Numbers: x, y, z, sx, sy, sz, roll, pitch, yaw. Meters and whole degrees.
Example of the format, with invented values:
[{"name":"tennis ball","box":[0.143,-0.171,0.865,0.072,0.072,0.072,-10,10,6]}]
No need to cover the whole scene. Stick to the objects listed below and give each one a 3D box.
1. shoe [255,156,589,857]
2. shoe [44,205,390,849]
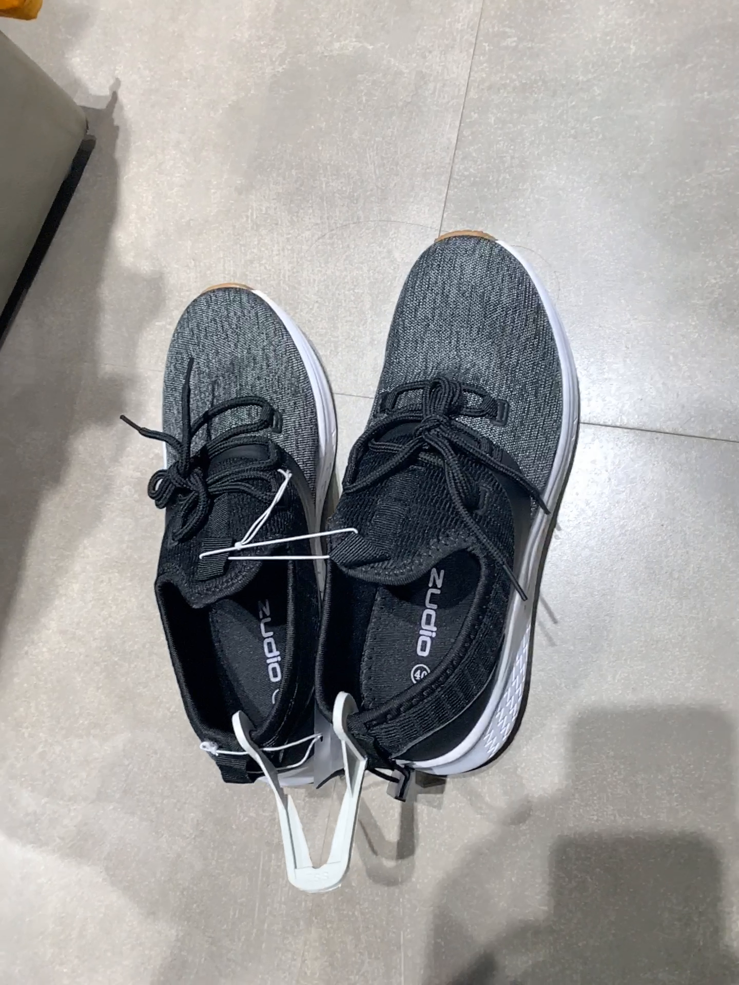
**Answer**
[{"name":"shoe","box":[0.034,0.001,0.359,0.107,0.096,0.278,5,84,18]},{"name":"shoe","box":[-0.077,0.017,0.390,0.106,0.096,0.278,-13,78,15]}]
